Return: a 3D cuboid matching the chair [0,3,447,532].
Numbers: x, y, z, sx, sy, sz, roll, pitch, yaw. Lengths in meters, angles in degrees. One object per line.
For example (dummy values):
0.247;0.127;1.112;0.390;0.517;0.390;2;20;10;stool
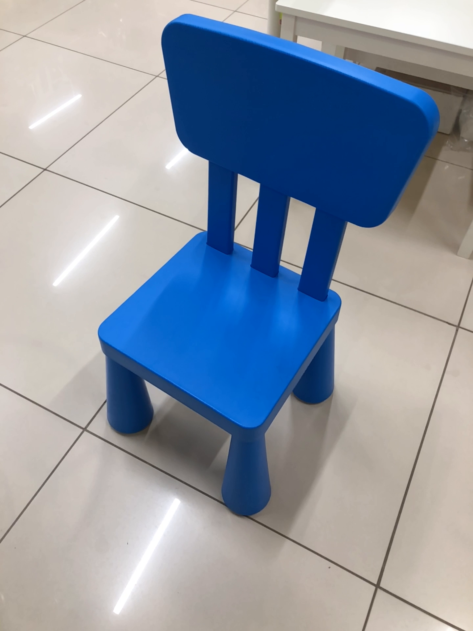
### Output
-0.019;-0.016;0.802;0.356;0.666;0.356;28;57;19;chair
